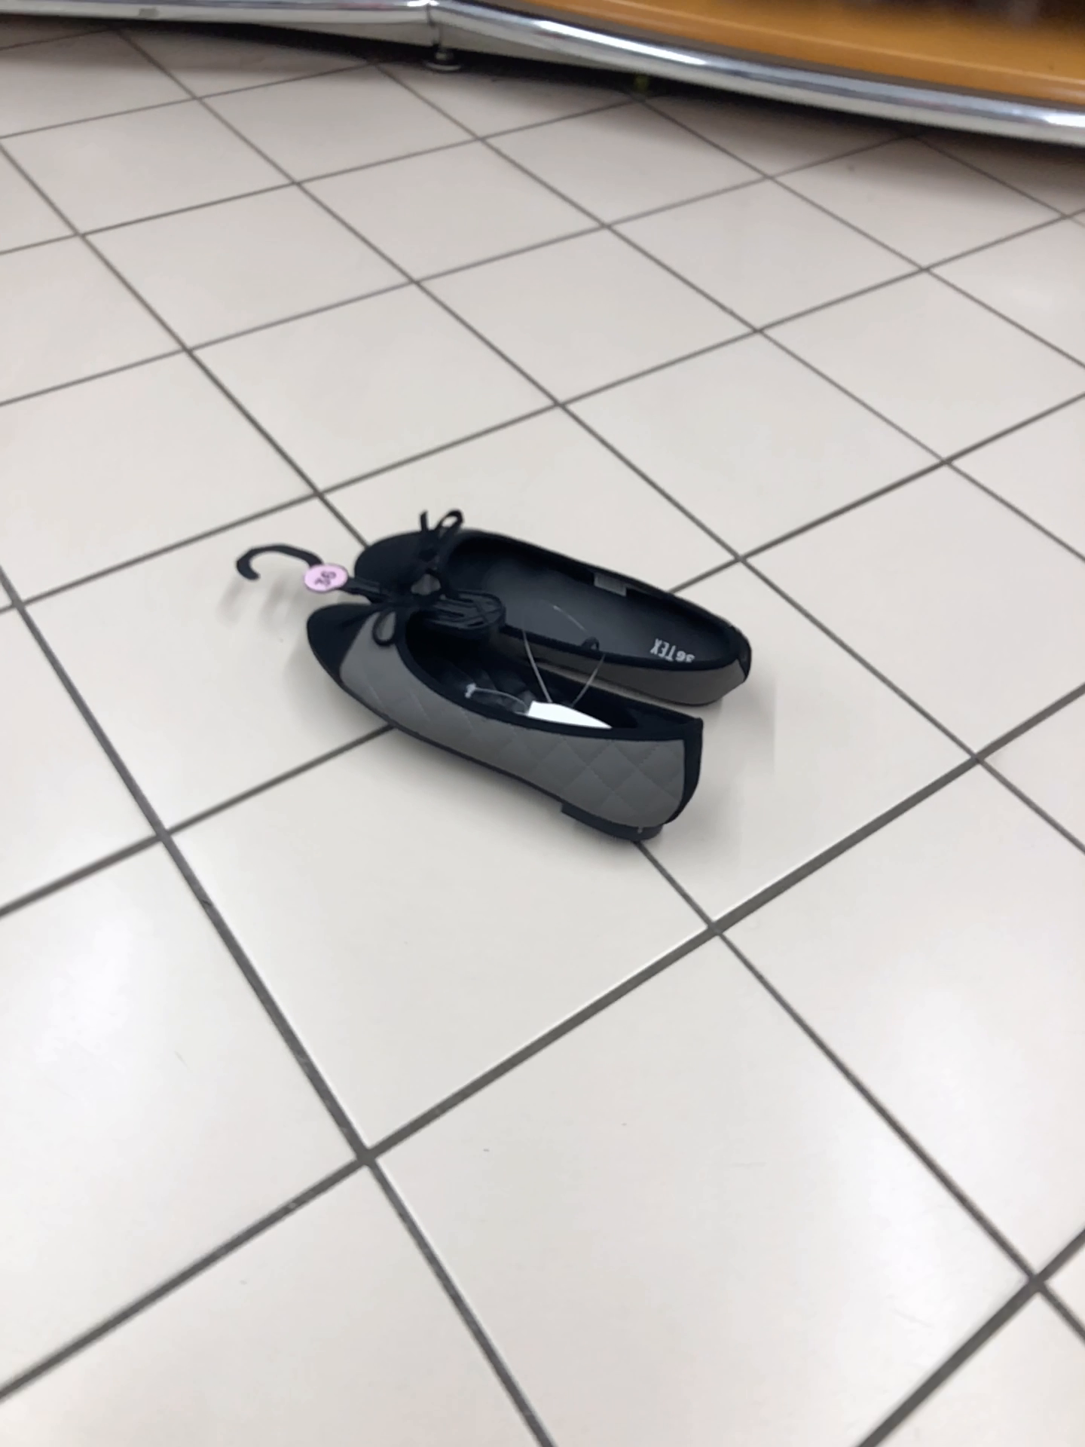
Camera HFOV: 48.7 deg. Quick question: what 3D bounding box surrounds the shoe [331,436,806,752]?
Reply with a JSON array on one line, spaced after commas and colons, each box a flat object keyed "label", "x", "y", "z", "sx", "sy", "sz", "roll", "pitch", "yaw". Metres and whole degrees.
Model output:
[{"label": "shoe", "x": 0.015, "y": -0.073, "z": 0.674, "sx": 0.242, "sy": 0.081, "sz": 0.078, "roll": 20, "pitch": 72, "yaw": 13}]

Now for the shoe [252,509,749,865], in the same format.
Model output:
[{"label": "shoe", "x": -0.026, "y": -0.025, "z": 0.630, "sx": 0.242, "sy": 0.081, "sz": 0.078, "roll": 22, "pitch": 35, "yaw": 14}]
